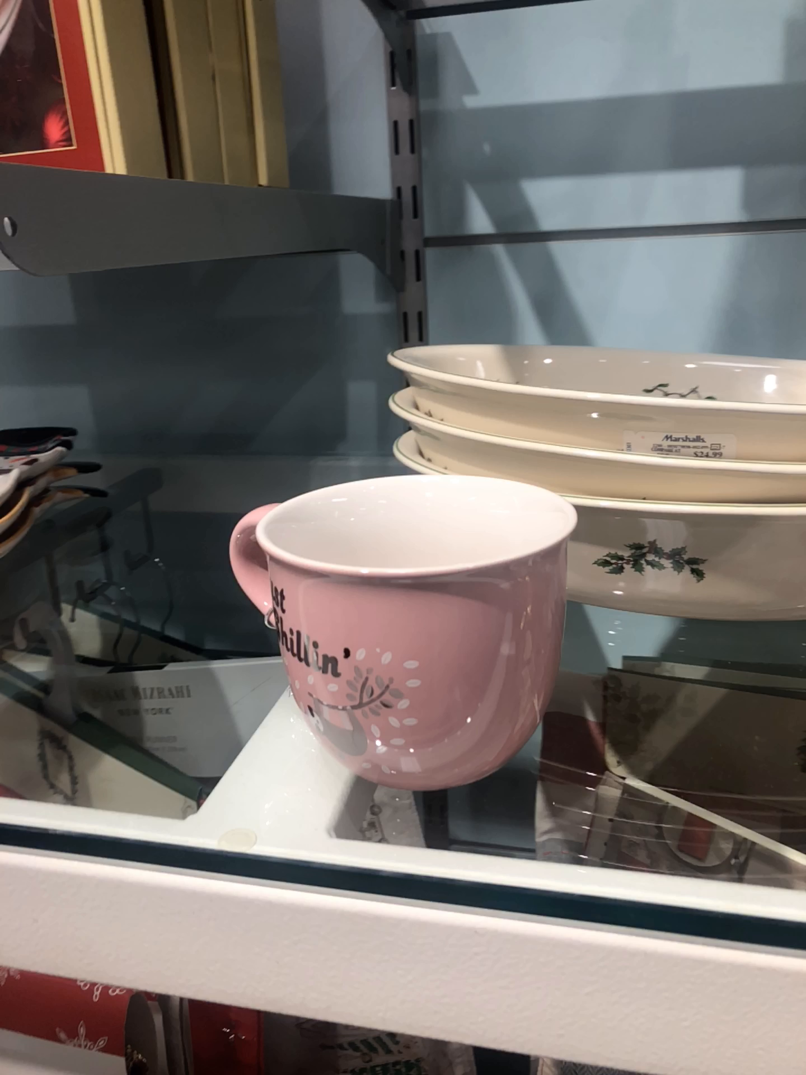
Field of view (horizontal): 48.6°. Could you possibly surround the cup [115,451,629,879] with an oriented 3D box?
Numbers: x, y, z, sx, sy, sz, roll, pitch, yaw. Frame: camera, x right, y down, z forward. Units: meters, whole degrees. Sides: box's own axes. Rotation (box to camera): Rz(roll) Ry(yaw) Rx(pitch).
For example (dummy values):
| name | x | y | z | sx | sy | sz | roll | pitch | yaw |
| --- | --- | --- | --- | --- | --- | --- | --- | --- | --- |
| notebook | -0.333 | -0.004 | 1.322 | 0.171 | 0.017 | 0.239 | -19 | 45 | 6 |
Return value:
| name | x | y | z | sx | sy | sz | roll | pitch | yaw |
| --- | --- | --- | --- | --- | --- | --- | --- | --- | --- |
| cup | -0.006 | 0.029 | 0.318 | 0.136 | 0.085 | 0.112 | 10 | 22 | 32 |
